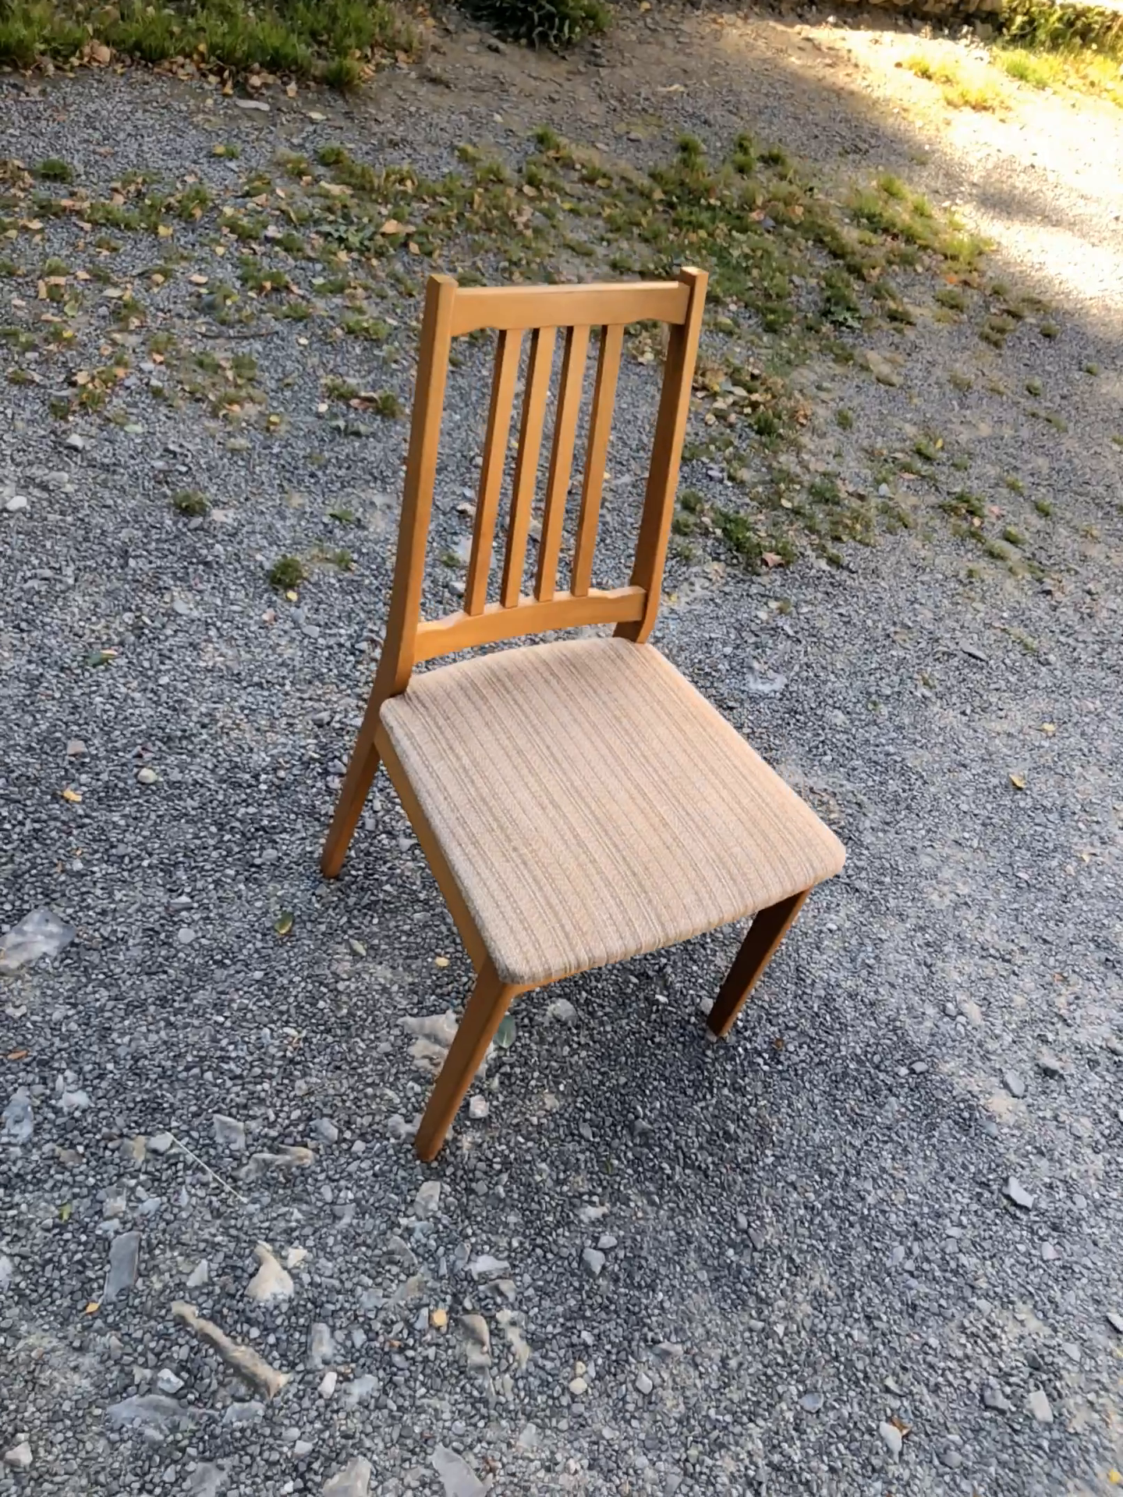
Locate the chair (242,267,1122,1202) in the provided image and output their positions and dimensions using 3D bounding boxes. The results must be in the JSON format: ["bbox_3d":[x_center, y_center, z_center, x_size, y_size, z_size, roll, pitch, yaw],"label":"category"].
[{"bbox_3d":[0.072,-0.012,1.442,0.603,0.844,0.591,-15,59,-32],"label":"chair"}]
